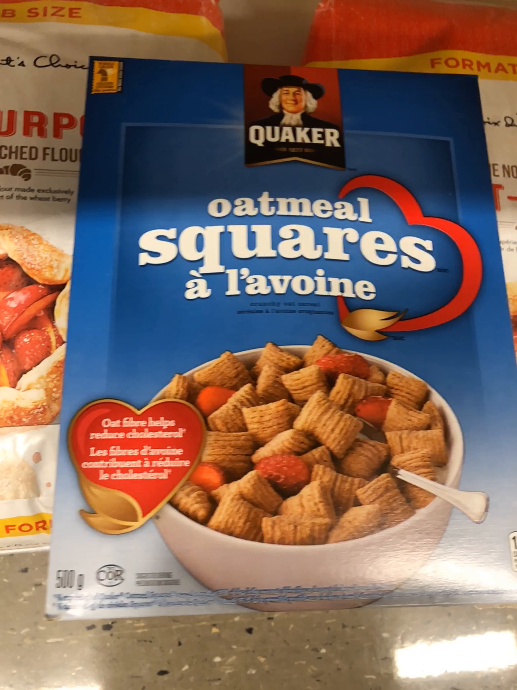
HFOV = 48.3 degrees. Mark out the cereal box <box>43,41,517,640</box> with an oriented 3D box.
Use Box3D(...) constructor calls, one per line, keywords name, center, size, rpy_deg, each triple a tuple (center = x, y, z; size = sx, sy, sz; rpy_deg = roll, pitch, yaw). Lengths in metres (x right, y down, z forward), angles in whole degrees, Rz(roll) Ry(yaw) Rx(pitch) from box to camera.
Box3D(name="cereal box", center=(0.020, -0.013, 0.296), size=(0.210, 0.060, 0.280), rpy_deg=(1, 73, -5))
